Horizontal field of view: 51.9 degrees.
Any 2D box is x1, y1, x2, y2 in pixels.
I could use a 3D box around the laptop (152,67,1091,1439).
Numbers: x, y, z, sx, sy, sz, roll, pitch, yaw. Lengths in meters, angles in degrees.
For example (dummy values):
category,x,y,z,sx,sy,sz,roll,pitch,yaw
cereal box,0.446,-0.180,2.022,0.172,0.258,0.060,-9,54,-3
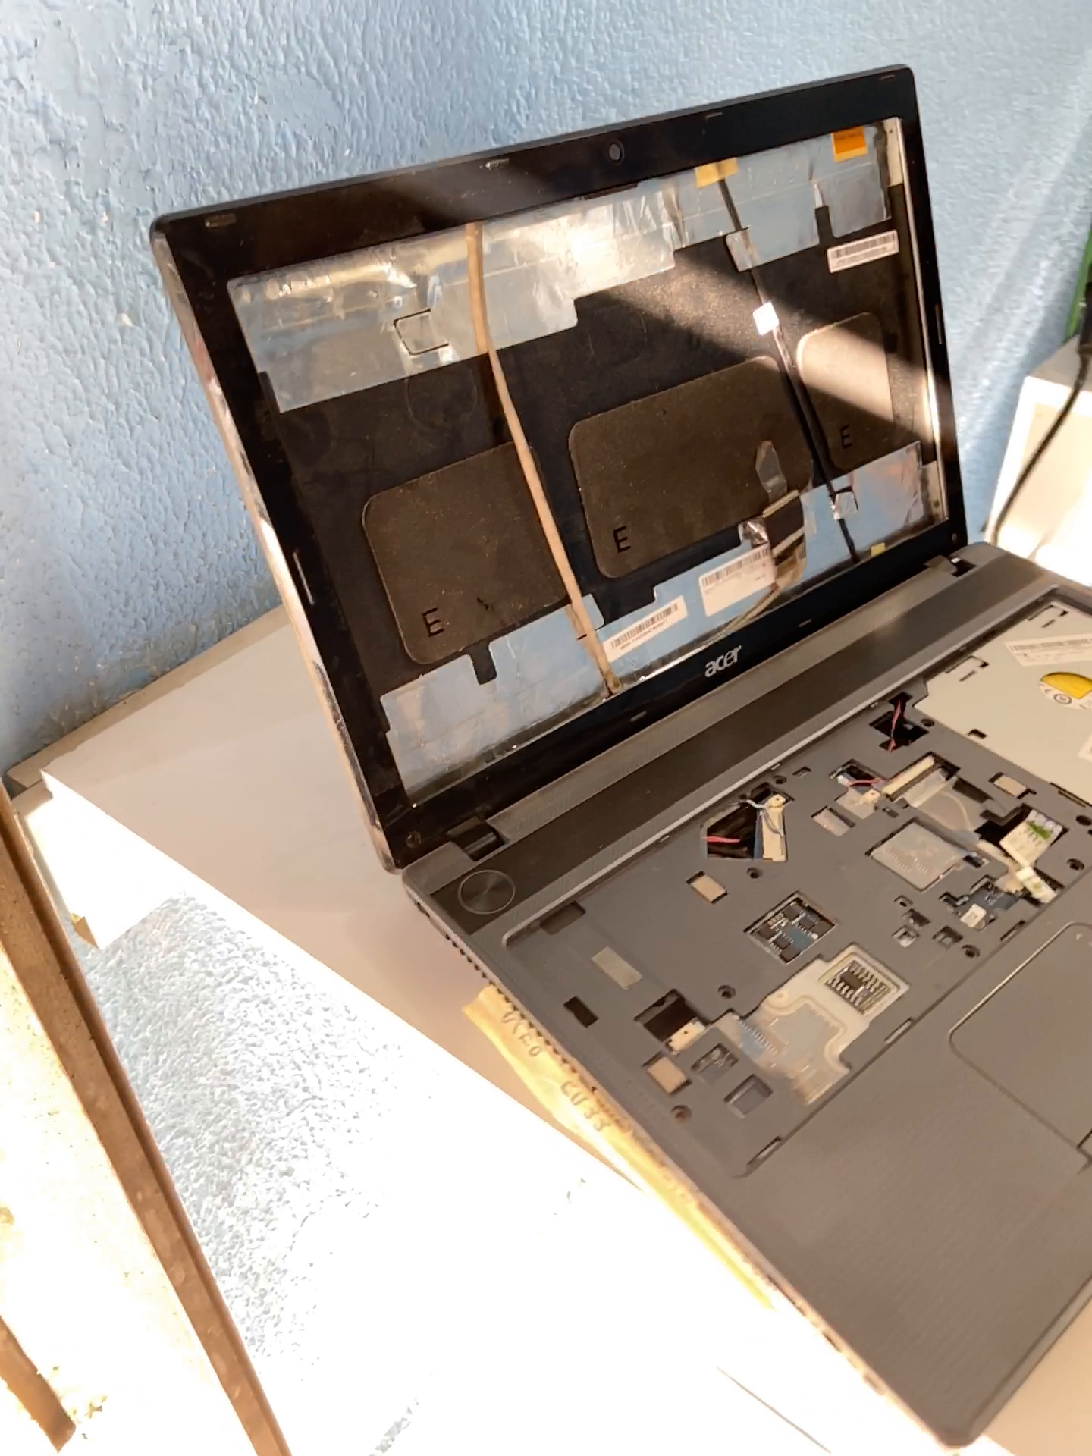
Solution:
category,x,y,z,sx,sy,sz,roll,pitch,yaw
laptop,0.135,-0.073,0.406,0.379,0.210,0.350,-28,45,-28
